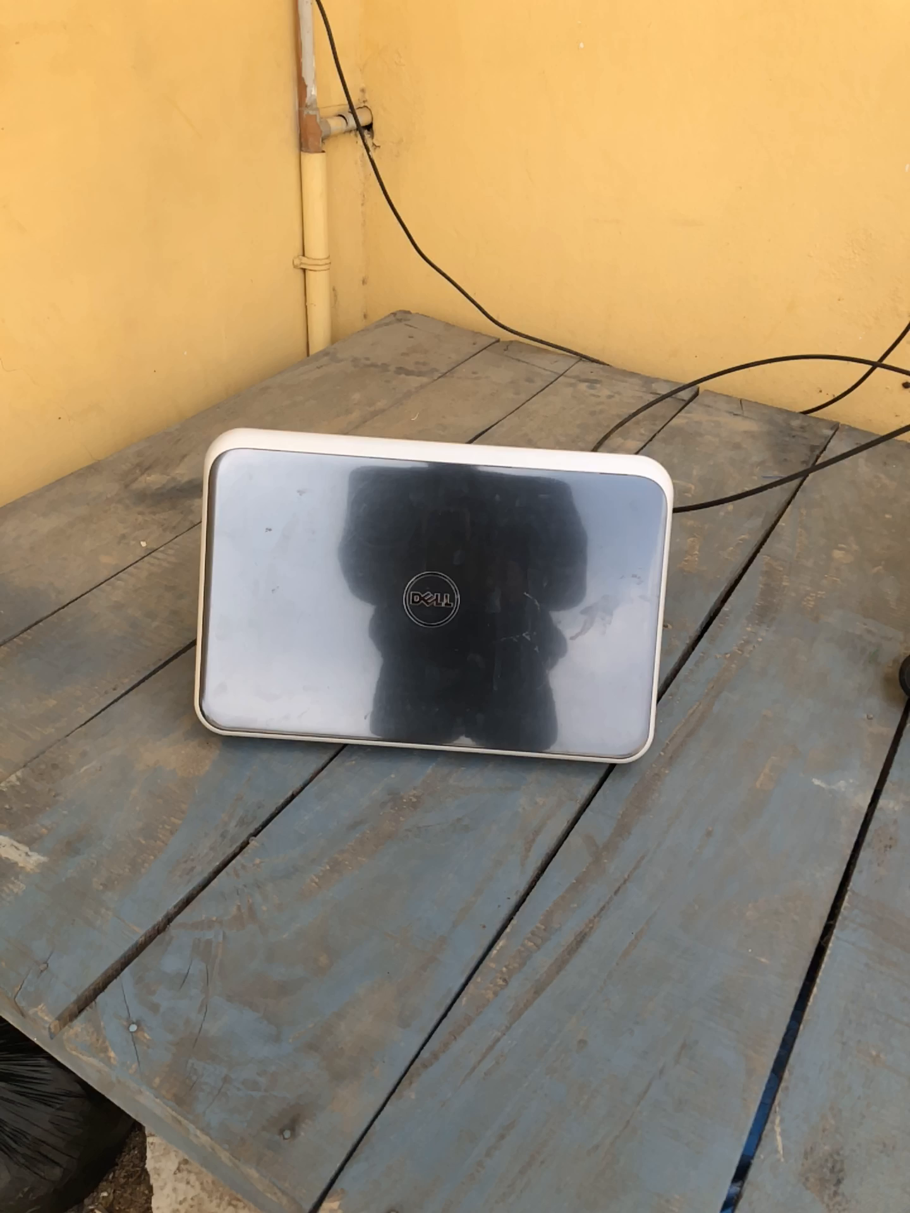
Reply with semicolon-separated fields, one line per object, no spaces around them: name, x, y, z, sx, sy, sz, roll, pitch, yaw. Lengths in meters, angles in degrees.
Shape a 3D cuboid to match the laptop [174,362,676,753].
laptop;-0.017;-0.047;0.829;0.347;0.206;0.217;4;37;2
